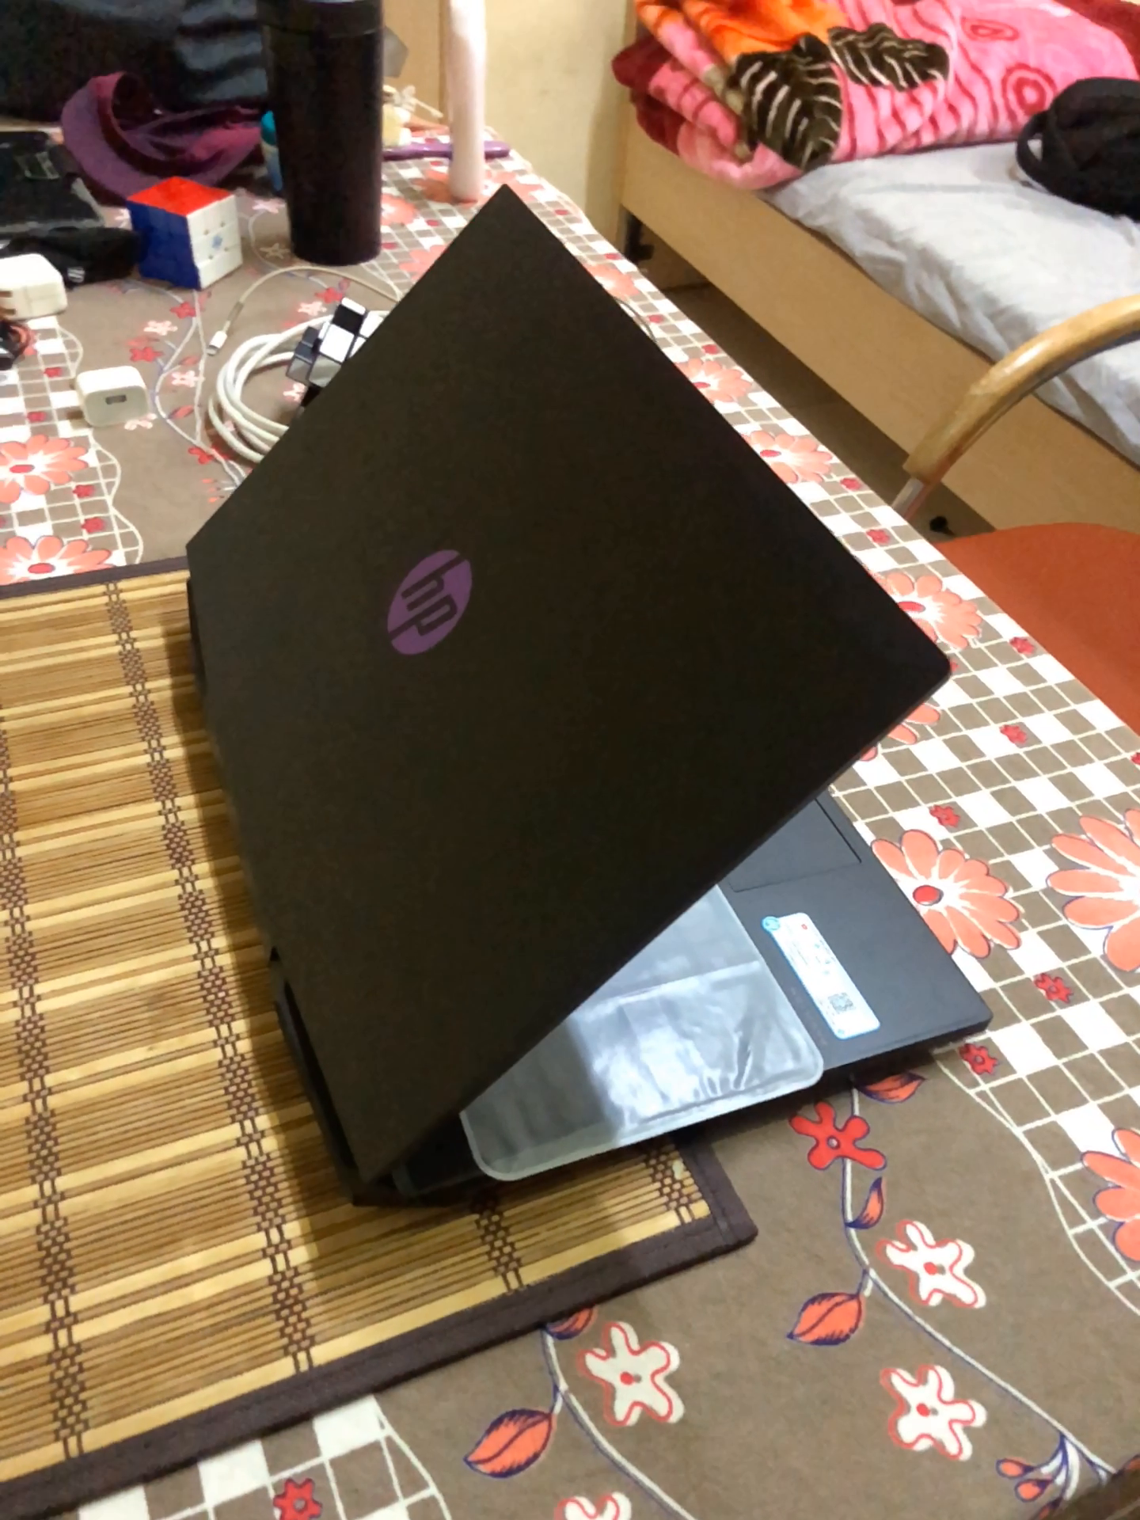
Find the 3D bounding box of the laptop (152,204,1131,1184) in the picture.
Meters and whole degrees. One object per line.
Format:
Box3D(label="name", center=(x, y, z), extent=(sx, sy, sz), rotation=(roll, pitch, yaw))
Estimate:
Box3D(label="laptop", center=(-0.007, -0.063, 0.501), extent=(0.237, 0.164, 0.357), rotation=(-9, 46, -20))
